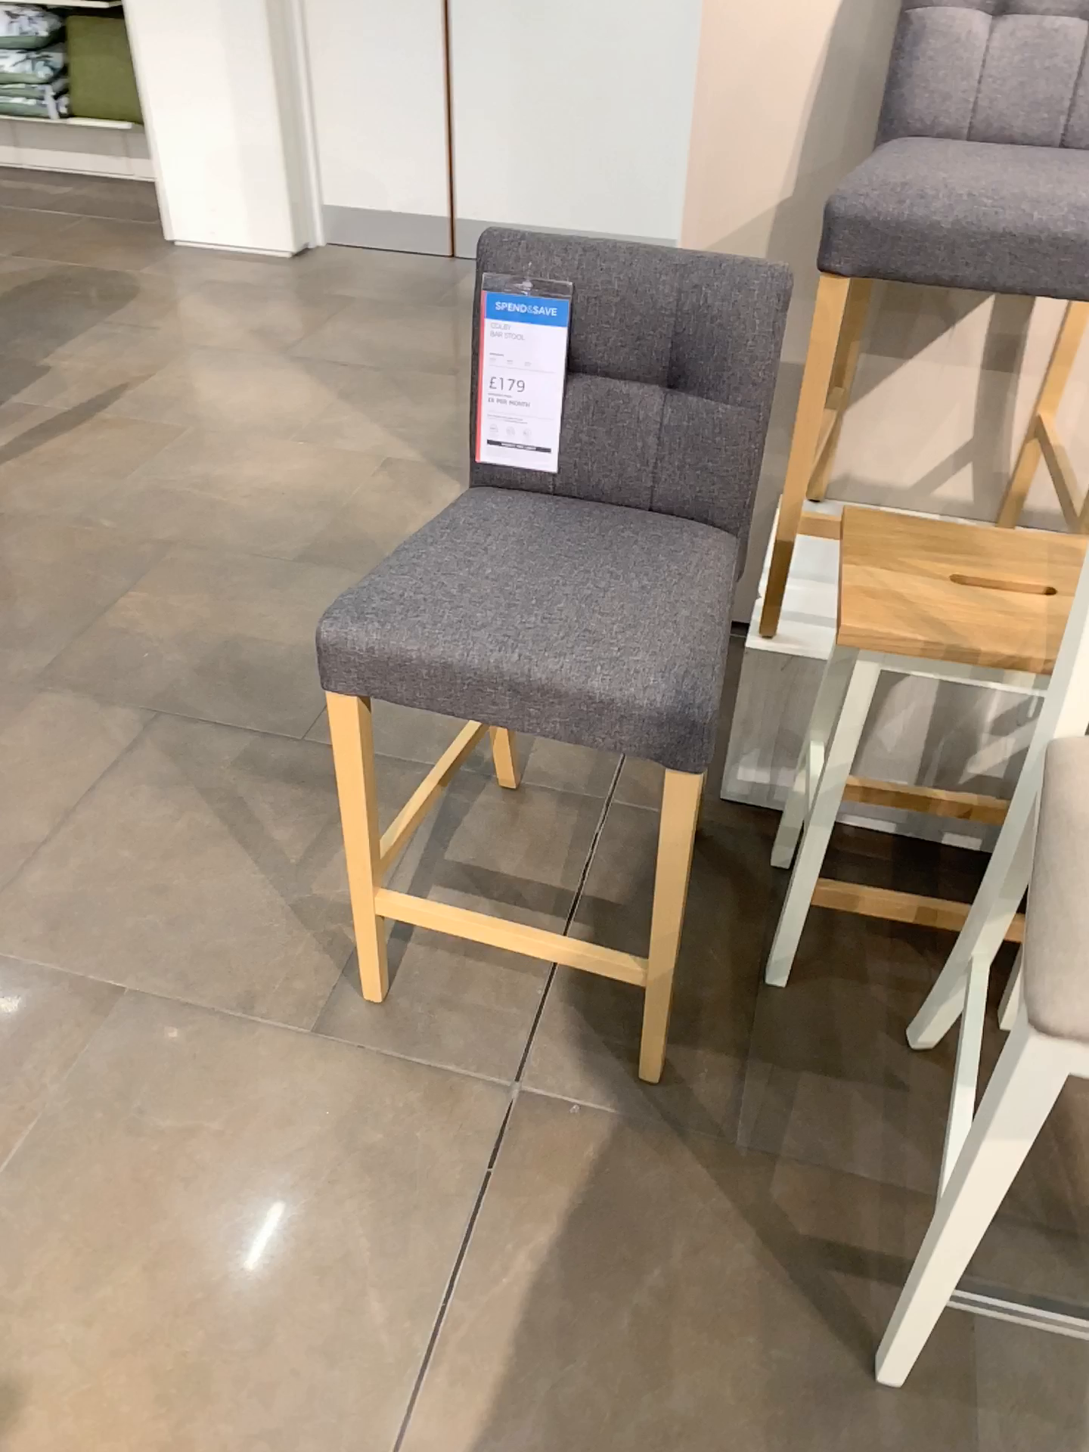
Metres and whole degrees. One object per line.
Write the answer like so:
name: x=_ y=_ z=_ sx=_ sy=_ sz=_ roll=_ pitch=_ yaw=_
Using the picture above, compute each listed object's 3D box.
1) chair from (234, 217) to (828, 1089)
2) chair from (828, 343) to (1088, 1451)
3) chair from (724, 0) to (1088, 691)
chair: x=0.014 y=-0.085 z=1.427 sx=0.487 sy=0.908 sz=0.523 roll=11 pitch=39 yaw=12
chair: x=0.625 y=0.221 z=1.039 sx=0.507 sy=0.938 sz=0.503 roll=11 pitch=38 yaw=12
chair: x=0.625 y=-0.625 z=1.591 sx=0.547 sy=0.918 sz=0.543 roll=11 pitch=38 yaw=12
